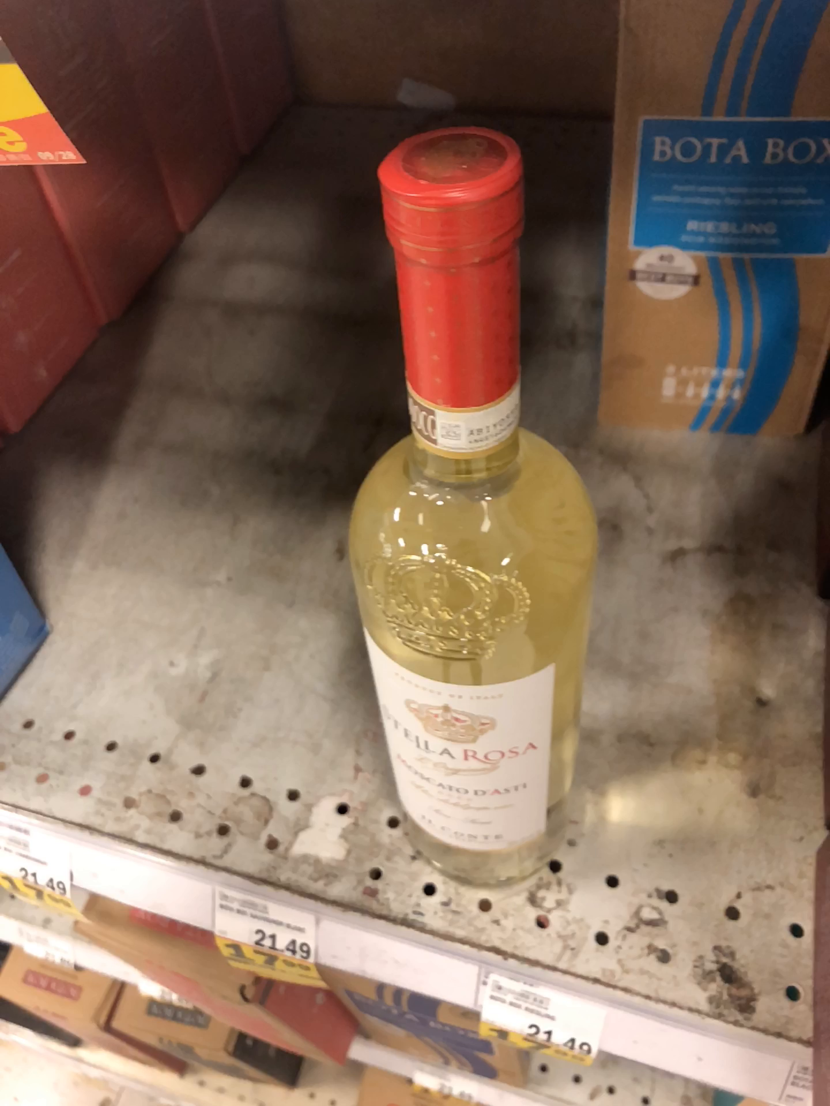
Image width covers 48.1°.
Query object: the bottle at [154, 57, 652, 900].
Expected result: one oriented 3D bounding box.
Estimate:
[{"bbox_3d":[0.018,0.020,0.301,0.080,0.320,0.070,7,54,13],"label":"bottle"}]
